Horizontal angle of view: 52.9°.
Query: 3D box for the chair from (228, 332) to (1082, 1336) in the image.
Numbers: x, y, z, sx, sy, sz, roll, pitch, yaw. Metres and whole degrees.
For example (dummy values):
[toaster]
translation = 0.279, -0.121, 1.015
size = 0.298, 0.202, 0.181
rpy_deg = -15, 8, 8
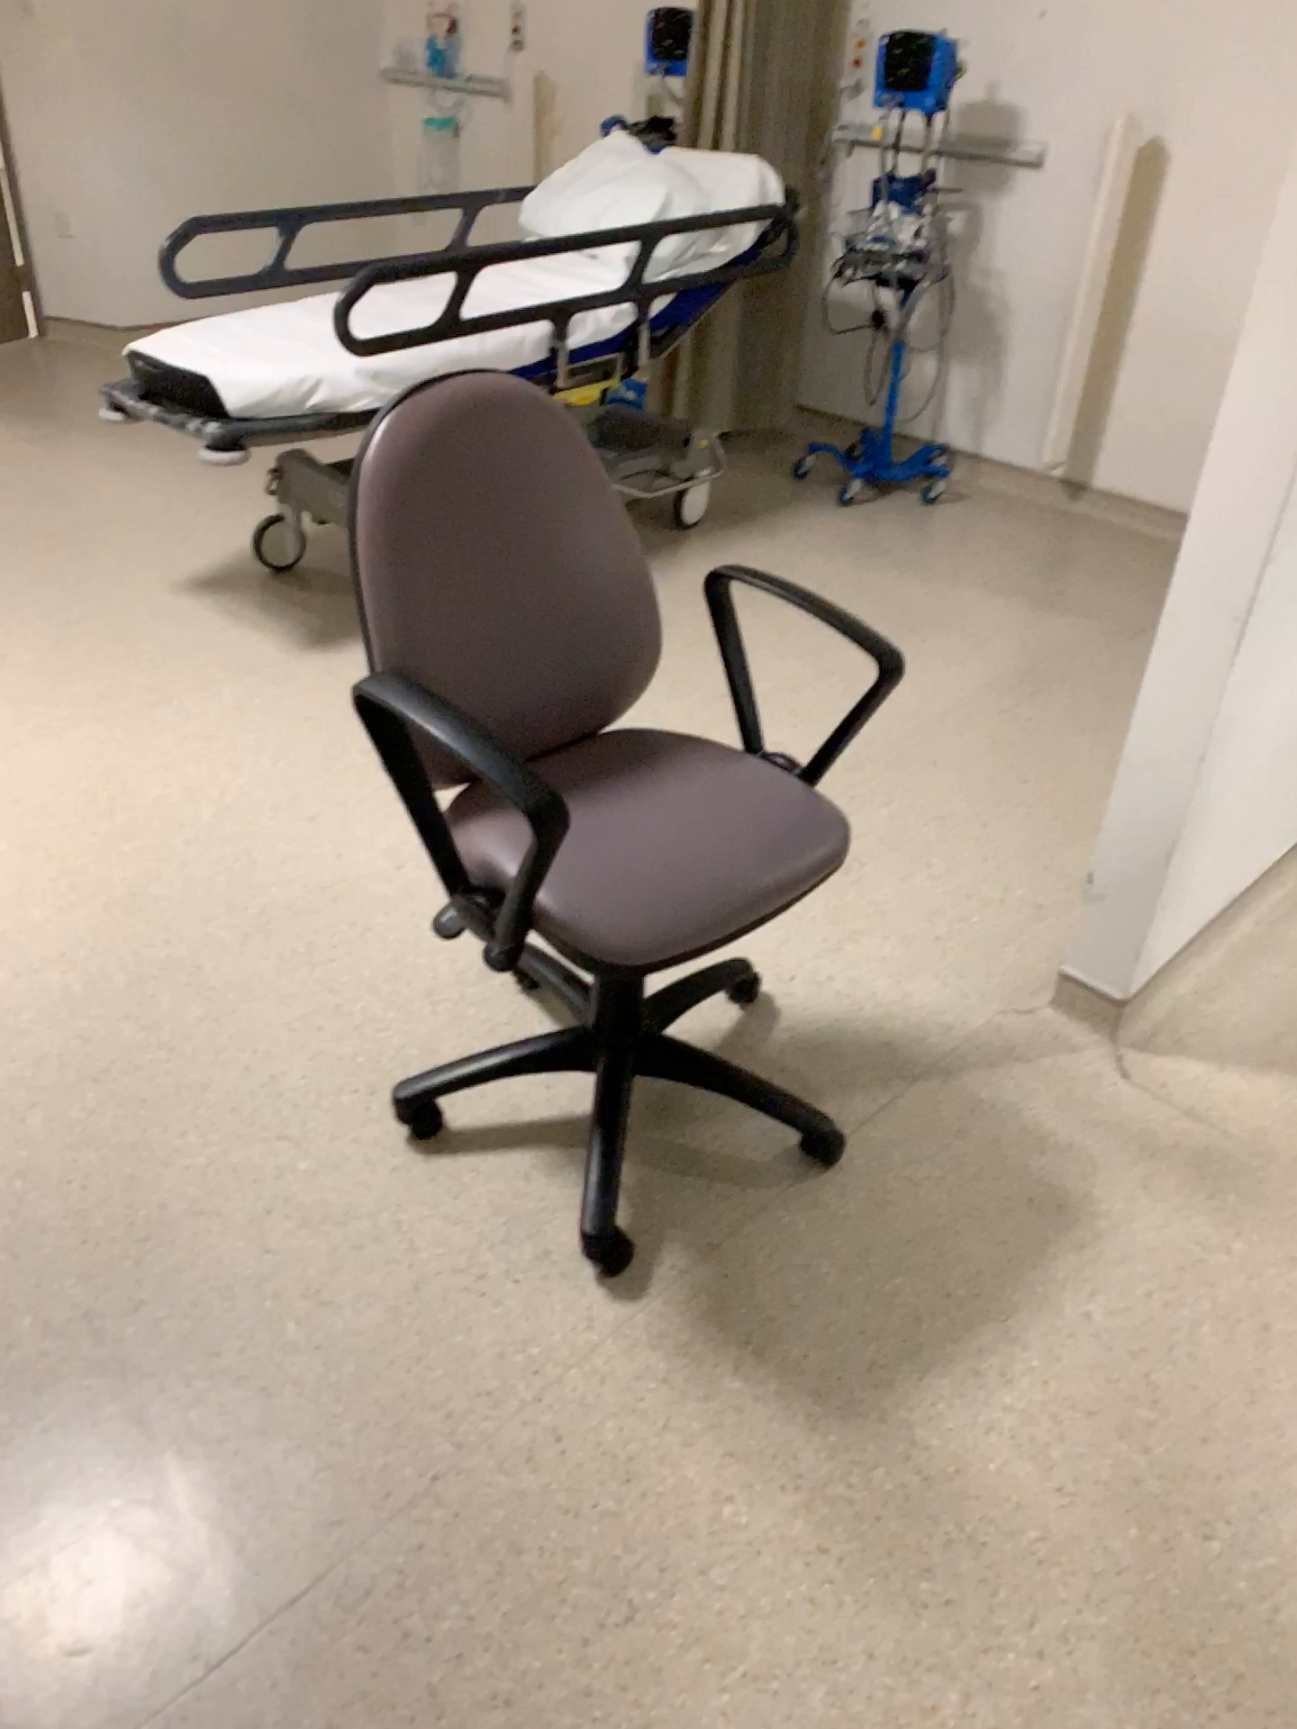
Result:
[chair]
translation = -0.014, -0.094, 1.626
size = 0.657, 0.899, 0.635
rpy_deg = 30, 41, 35
